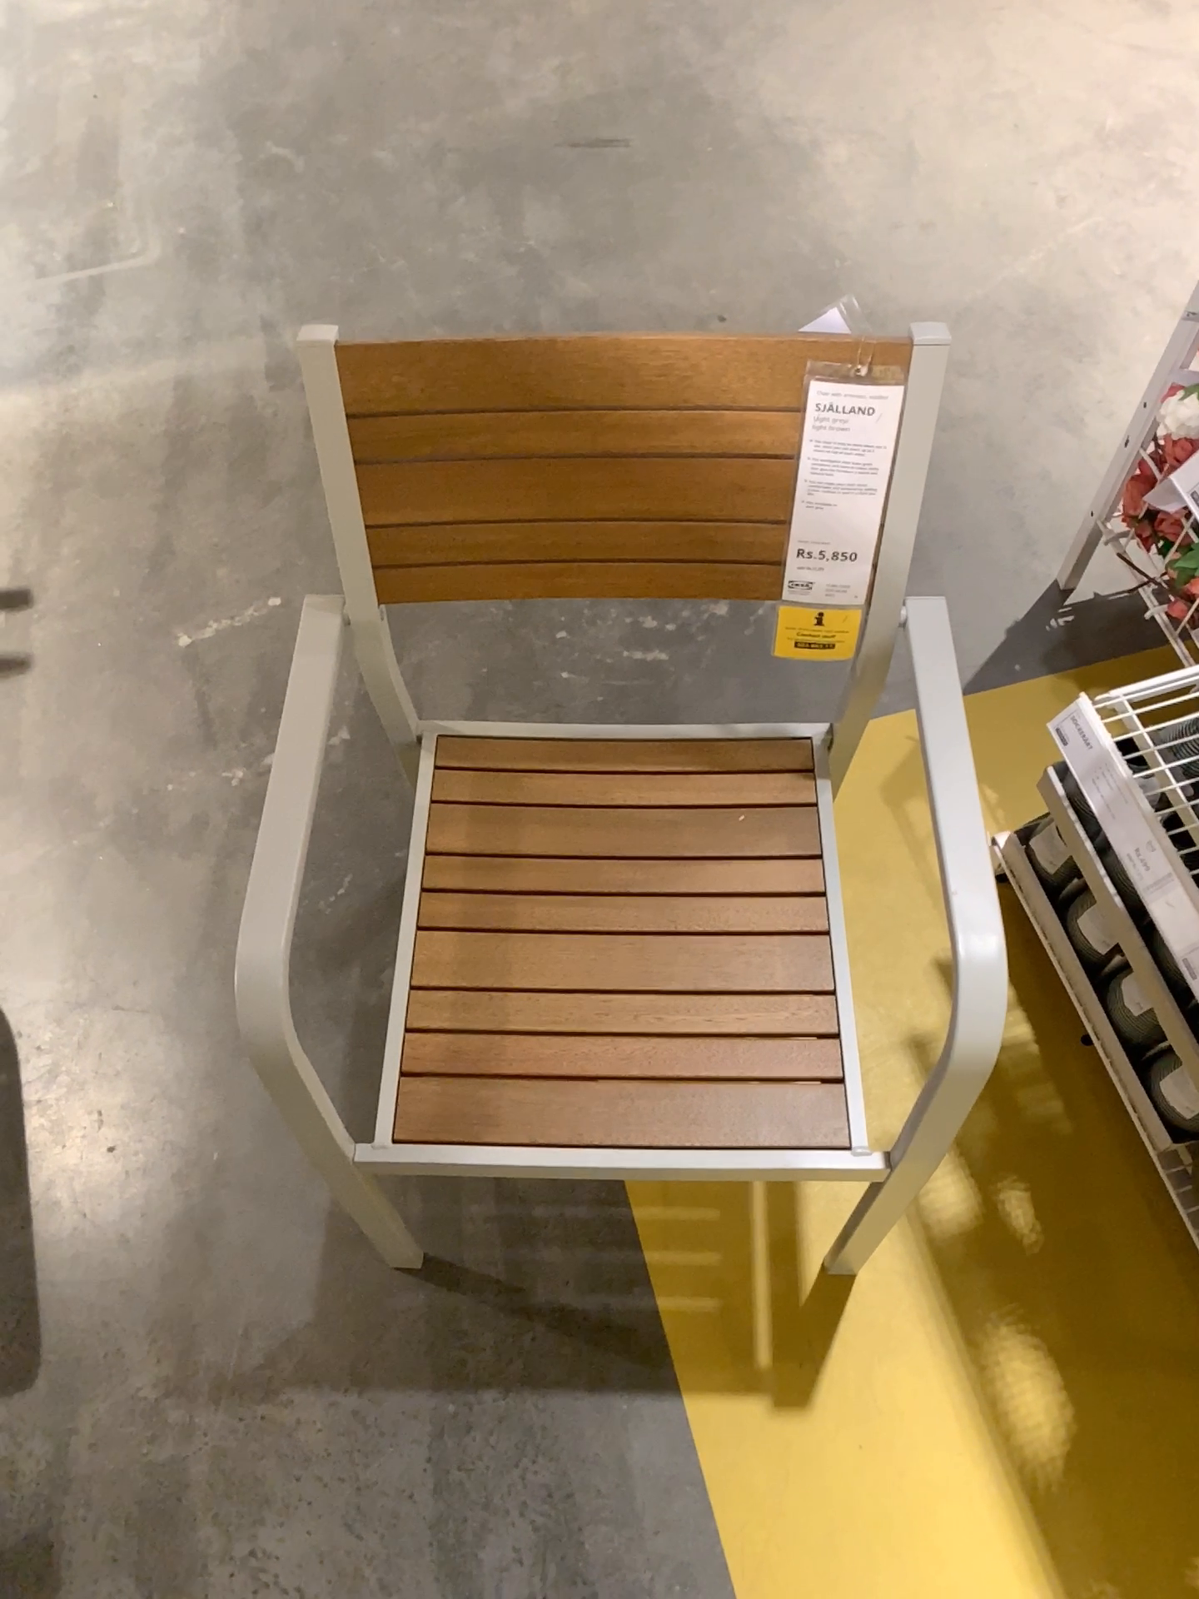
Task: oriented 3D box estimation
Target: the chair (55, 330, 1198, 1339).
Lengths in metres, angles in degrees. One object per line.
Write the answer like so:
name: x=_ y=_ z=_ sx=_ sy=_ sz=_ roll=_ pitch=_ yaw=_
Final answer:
chair: x=0.031 y=0.100 z=1.055 sx=0.560 sy=0.729 sz=0.601 roll=1 pitch=62 yaw=3
